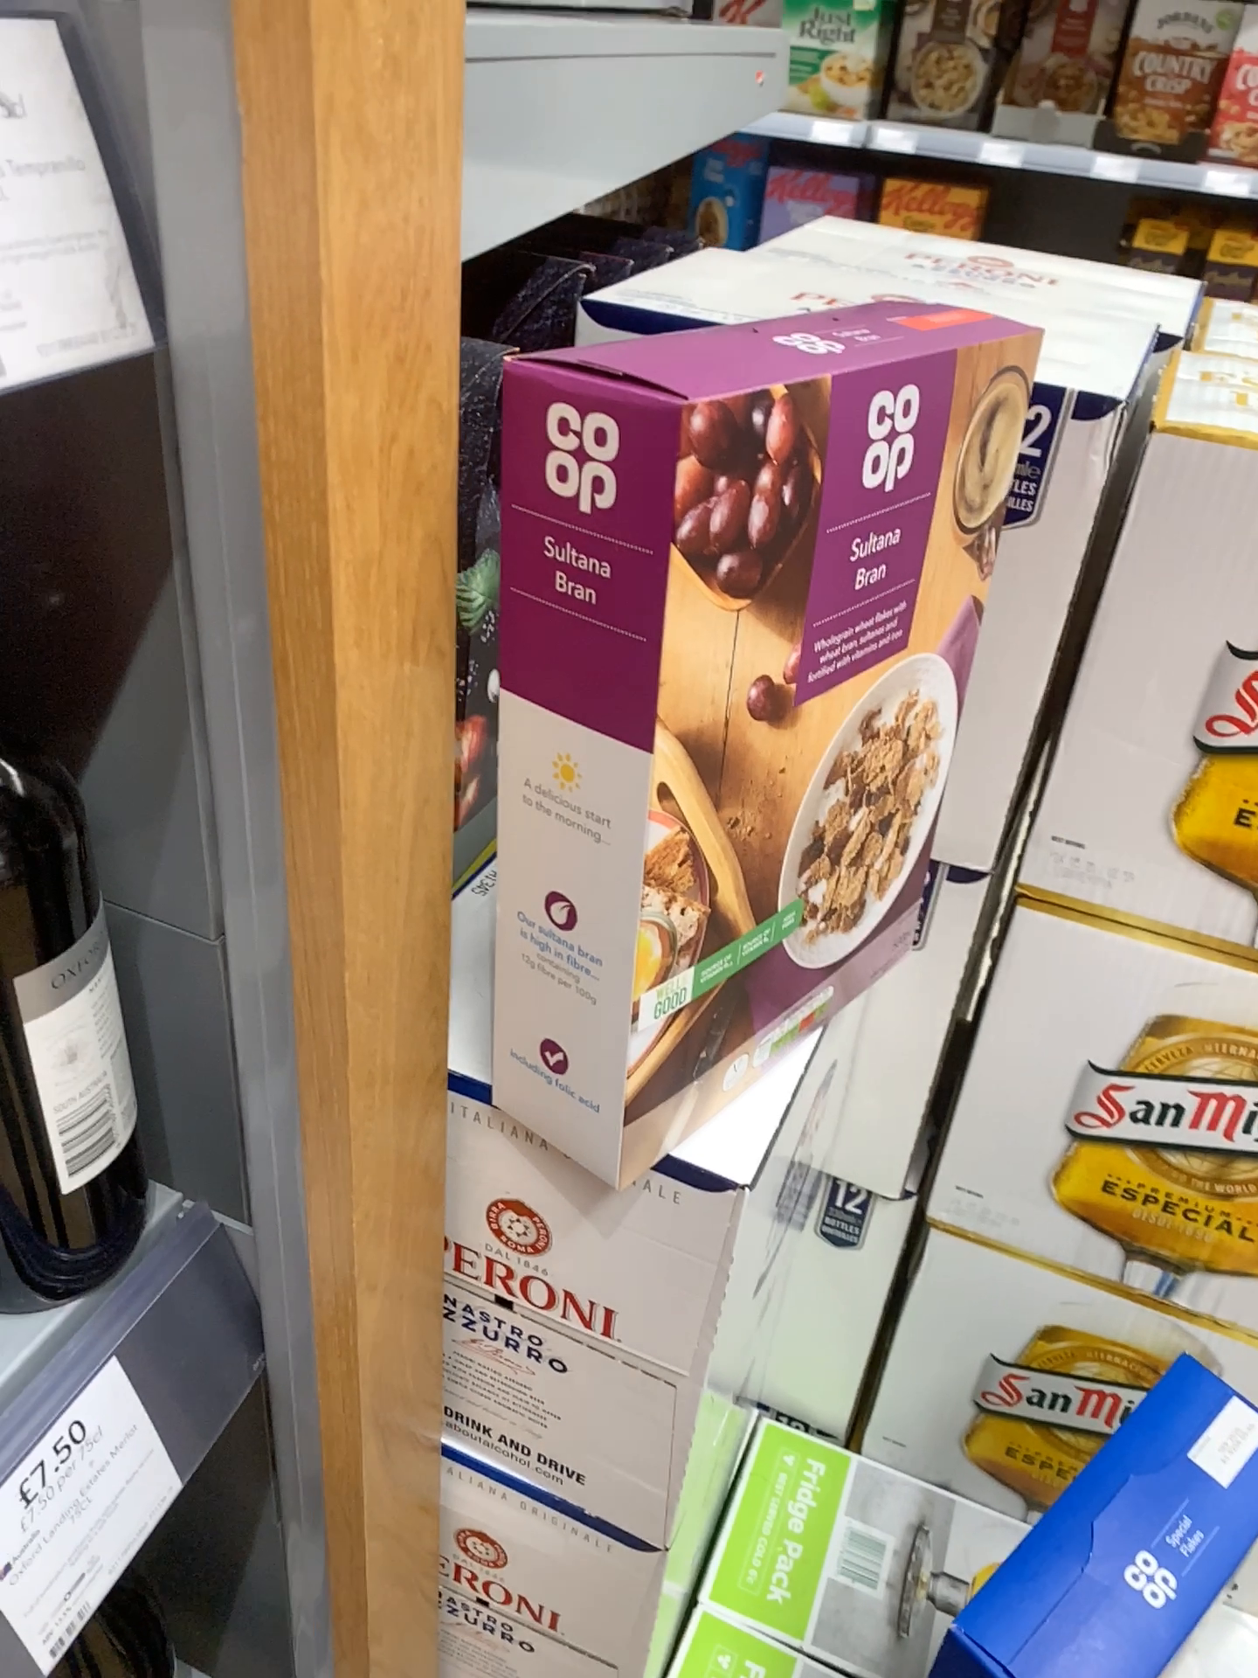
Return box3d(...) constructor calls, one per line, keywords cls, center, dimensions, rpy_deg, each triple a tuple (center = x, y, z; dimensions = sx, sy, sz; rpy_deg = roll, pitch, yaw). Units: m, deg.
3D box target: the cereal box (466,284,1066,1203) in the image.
box3d(cls="cereal box", center=(0.043, -0.039, 0.446), dimensions=(0.070, 0.257, 0.201), rpy_deg=(27, 38, 31))
